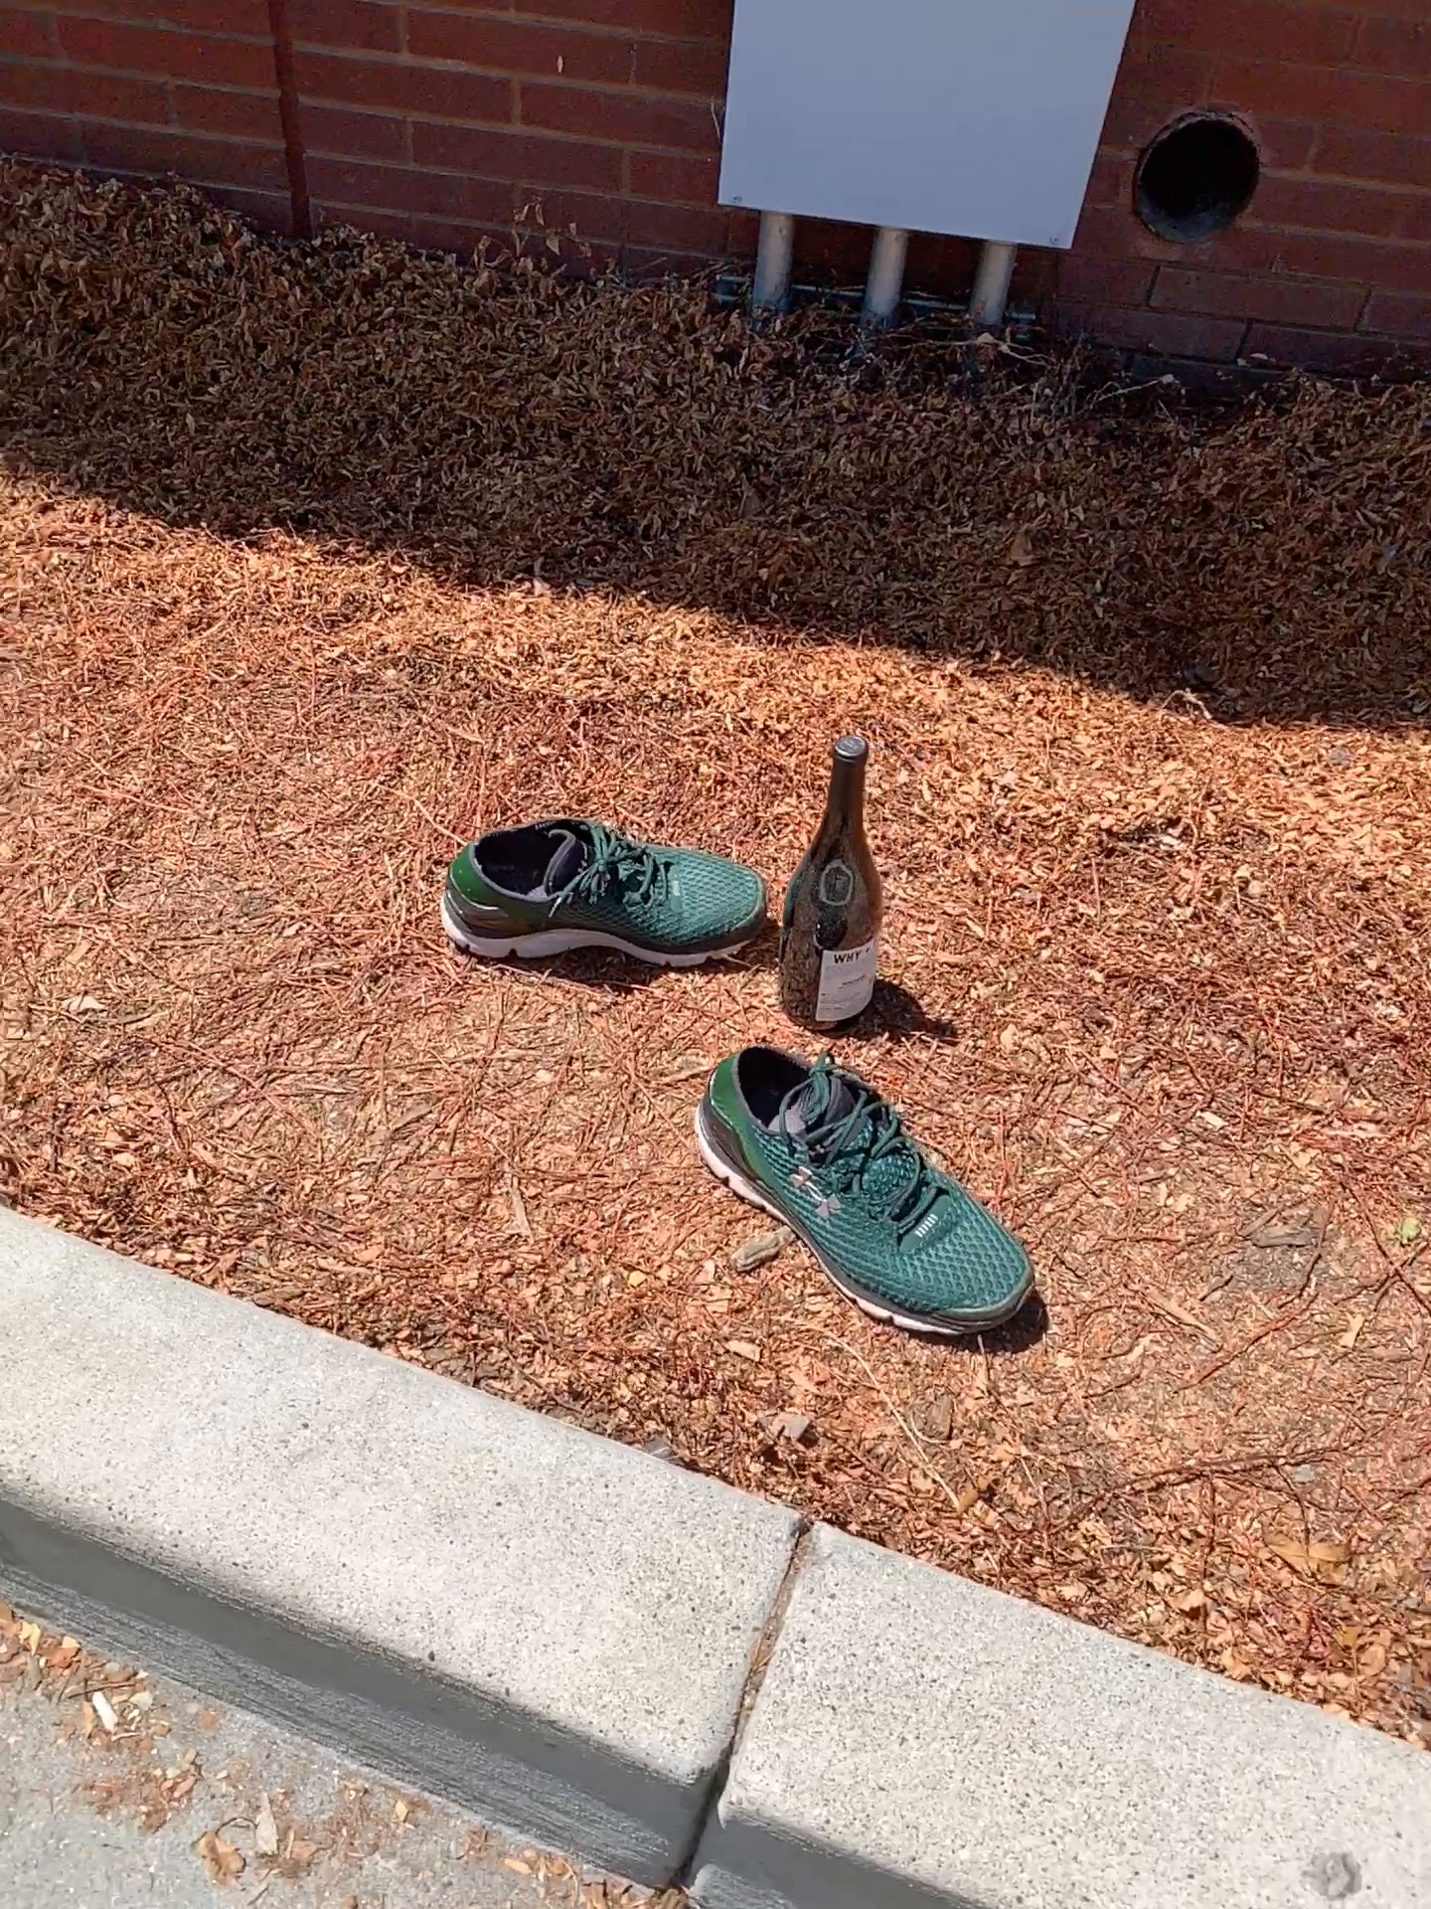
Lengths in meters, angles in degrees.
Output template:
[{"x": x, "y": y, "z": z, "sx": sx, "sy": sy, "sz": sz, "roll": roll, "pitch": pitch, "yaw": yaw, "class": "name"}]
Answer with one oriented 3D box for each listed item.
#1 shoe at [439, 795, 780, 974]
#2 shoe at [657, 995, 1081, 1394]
[{"x": -0.097, "y": -0.063, "z": 1.323, "sx": 0.290, "sy": 0.100, "sz": 0.121, "roll": 1, "pitch": 48, "yaw": -6, "class": "shoe"}, {"x": 0.107, "y": 0.174, "z": 1.101, "sx": 0.291, "sy": 0.100, "sz": 0.120, "roll": 35, "pitch": 53, "yaw": 23, "class": "shoe"}]
